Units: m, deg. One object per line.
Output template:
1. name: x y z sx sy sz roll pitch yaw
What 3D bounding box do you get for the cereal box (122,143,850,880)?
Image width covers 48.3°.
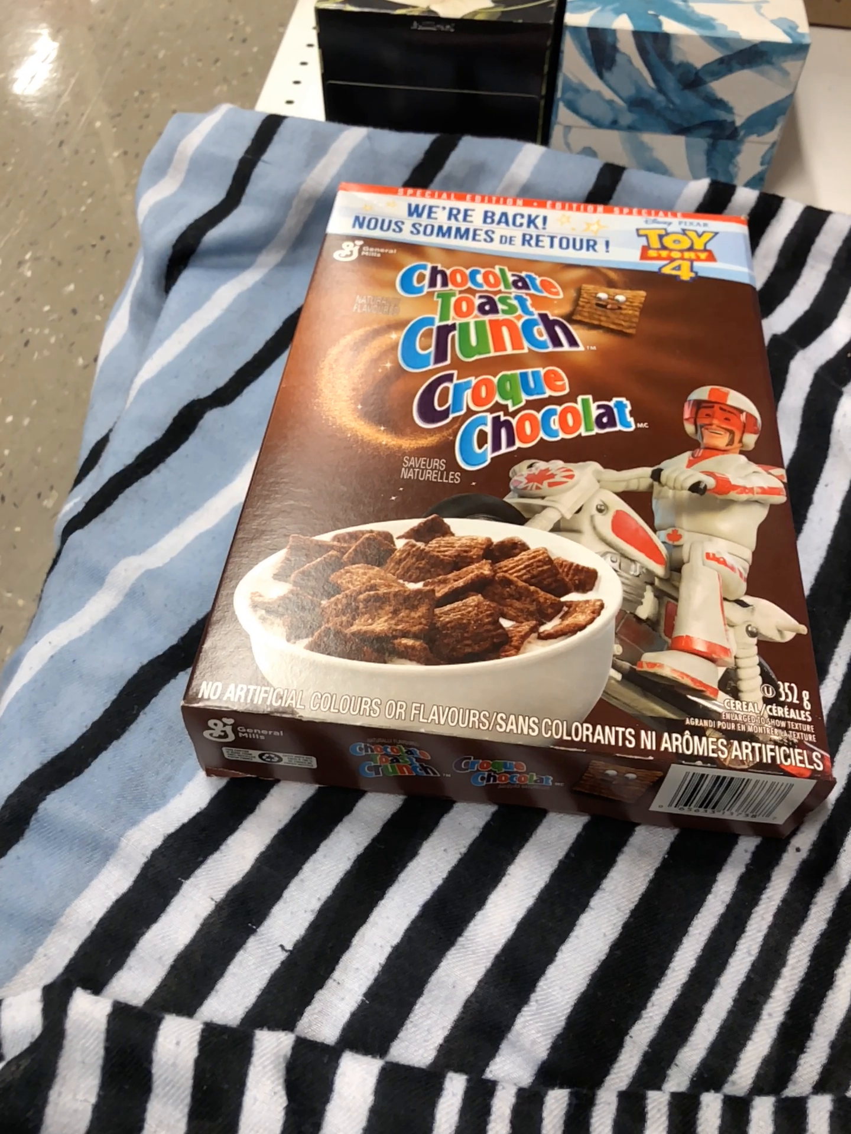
1. cereal box: 0.032 -0.047 0.379 0.210 0.060 0.301 6 55 2
